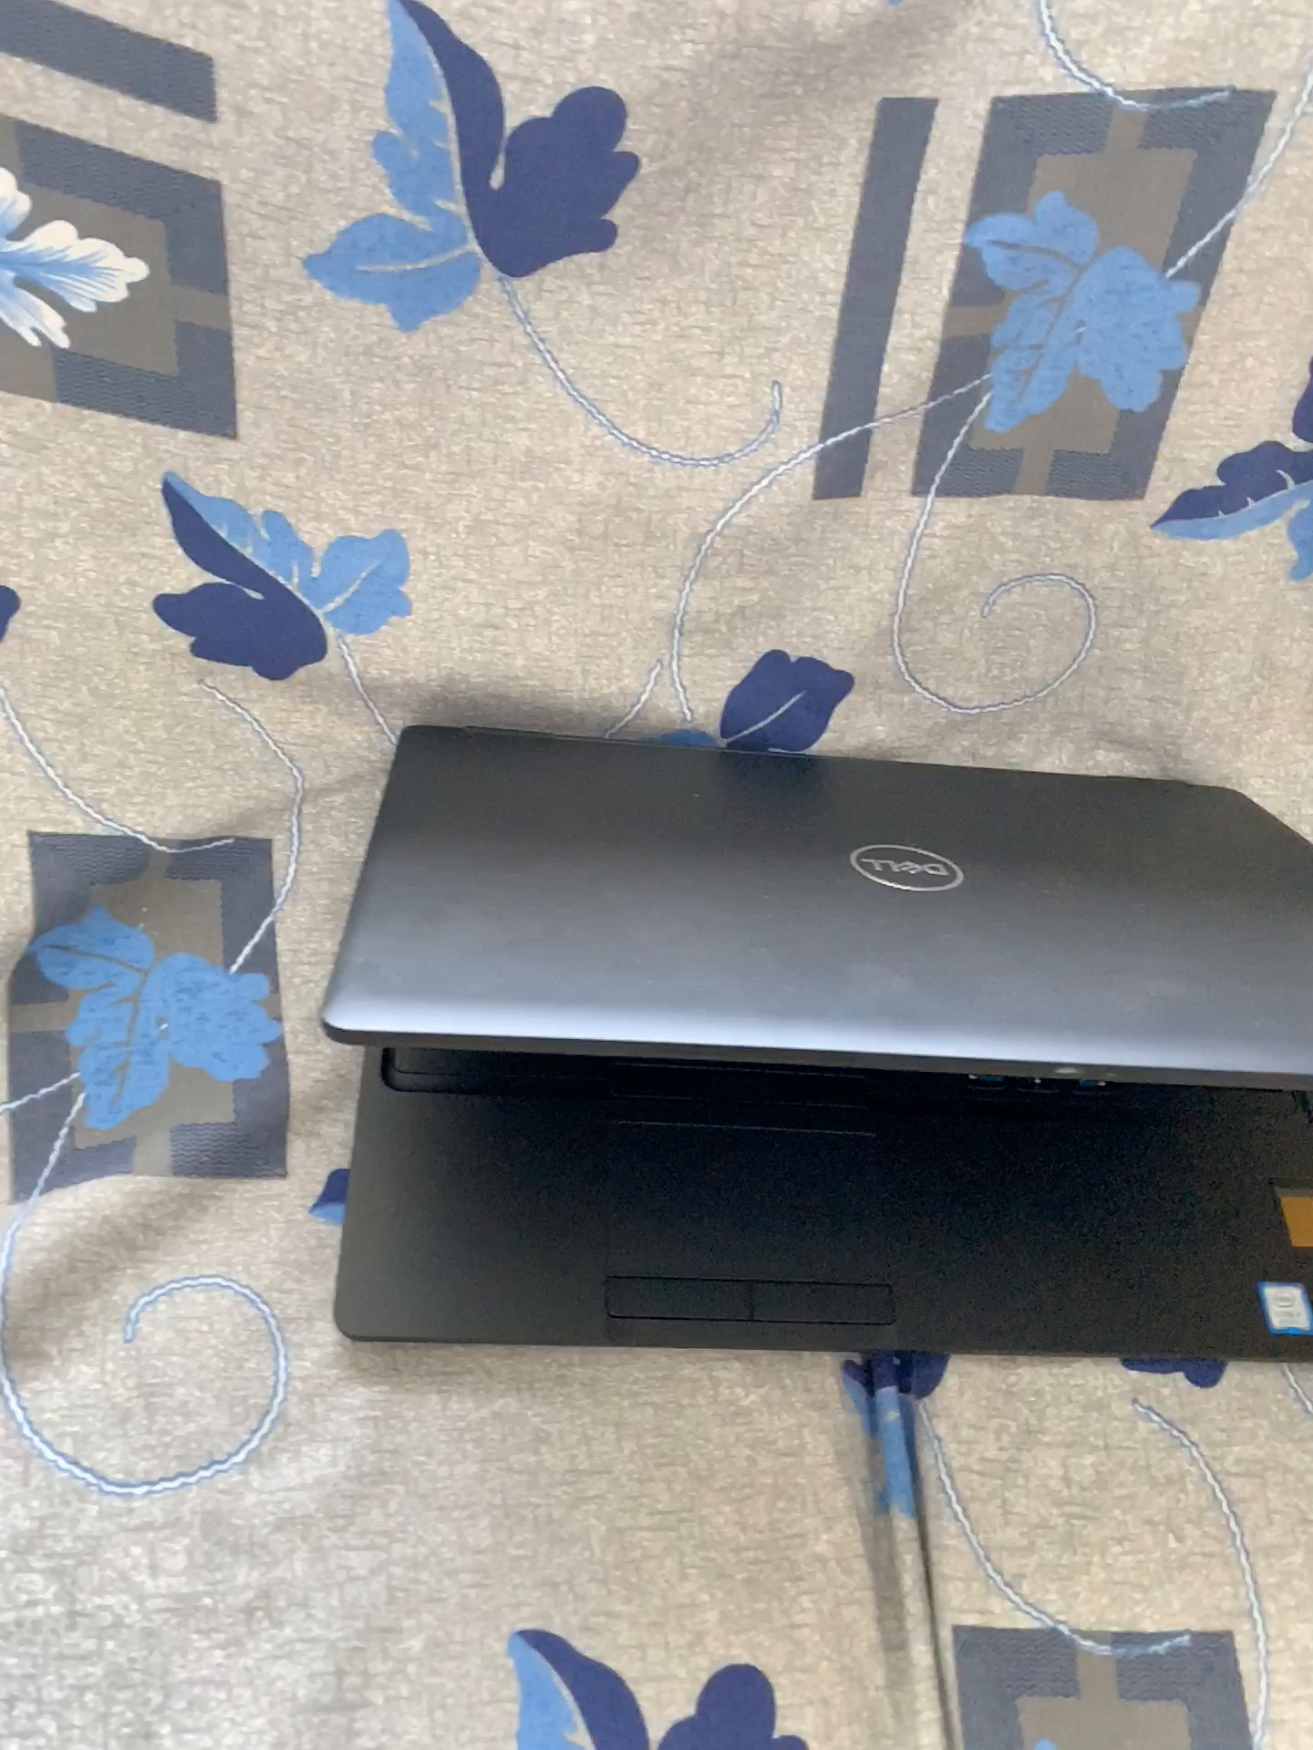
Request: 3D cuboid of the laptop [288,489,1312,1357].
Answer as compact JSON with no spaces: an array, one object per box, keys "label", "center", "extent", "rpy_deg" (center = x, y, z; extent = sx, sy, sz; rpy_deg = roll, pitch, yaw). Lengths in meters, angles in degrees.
[{"label":"laptop","center":[0.088,0.023,0.456],"extent":[0.371,0.142,0.239],"rpy_deg":[4,59,-7]}]
